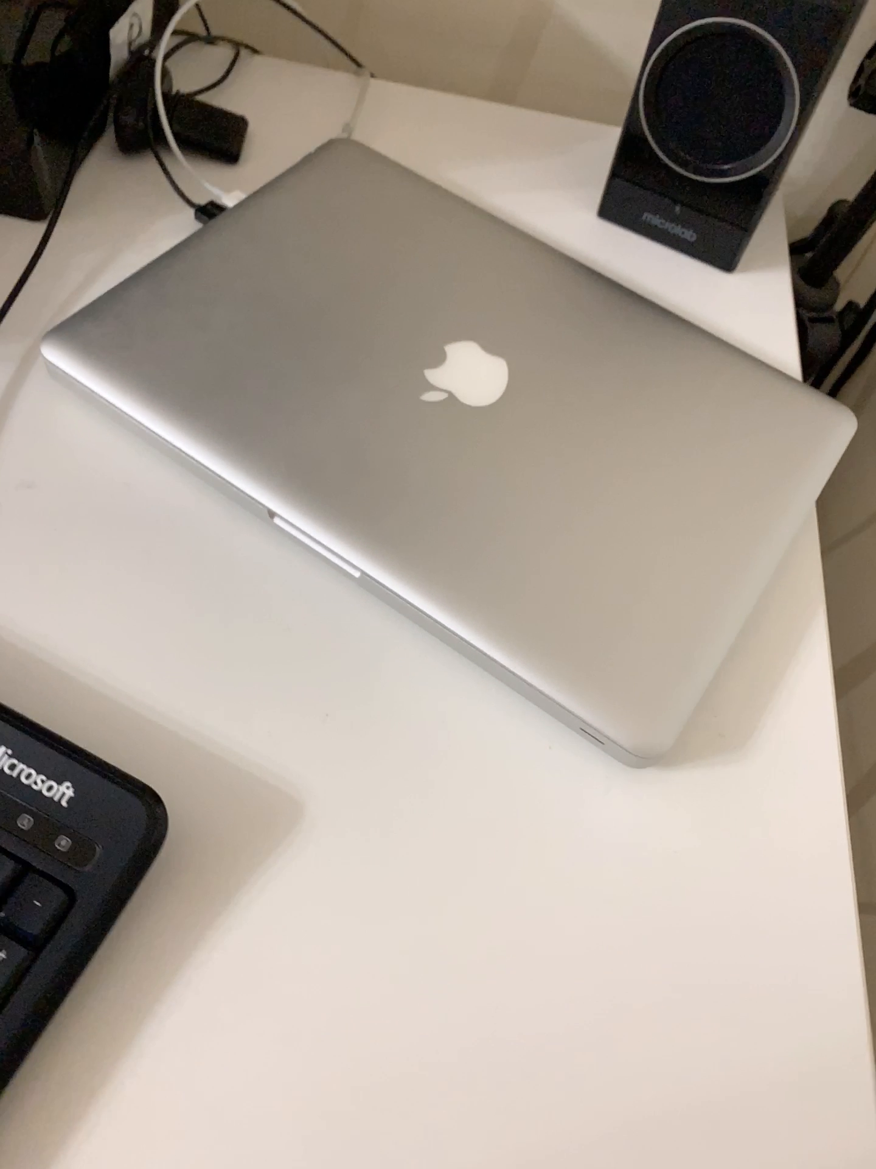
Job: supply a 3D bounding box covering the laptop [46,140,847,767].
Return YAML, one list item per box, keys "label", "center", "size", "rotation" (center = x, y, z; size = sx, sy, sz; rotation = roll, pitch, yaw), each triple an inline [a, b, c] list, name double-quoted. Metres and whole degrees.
- label: "laptop"
  center: [0.013, -0.089, 0.423]
  size: [0.305, 0.007, 0.218]
  rotation: [33, 61, 11]
